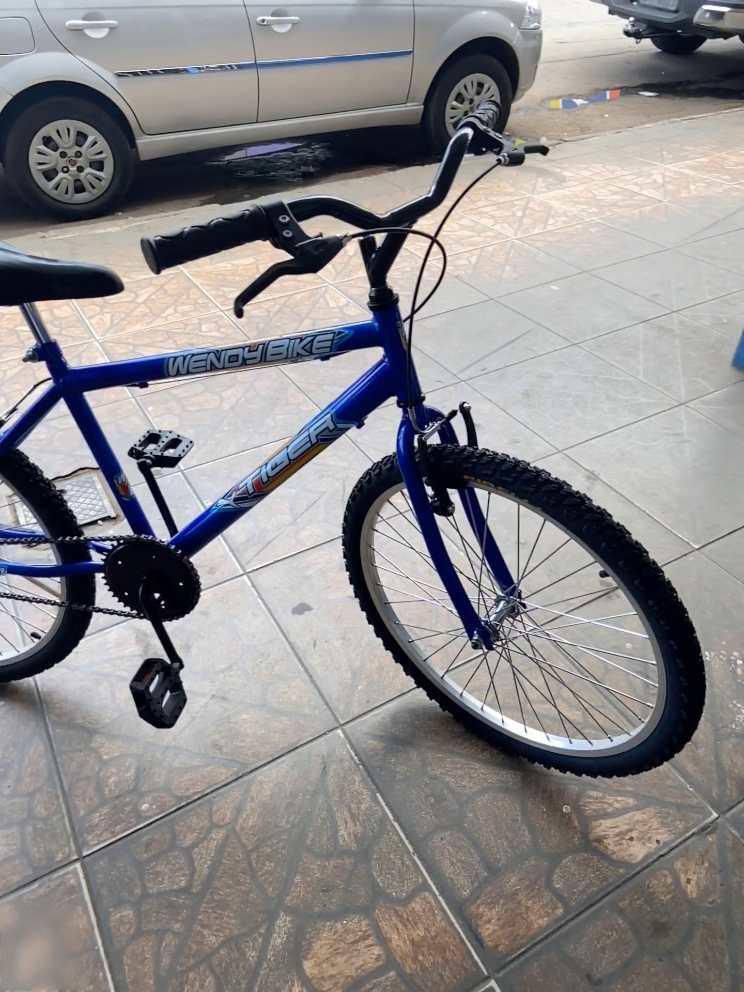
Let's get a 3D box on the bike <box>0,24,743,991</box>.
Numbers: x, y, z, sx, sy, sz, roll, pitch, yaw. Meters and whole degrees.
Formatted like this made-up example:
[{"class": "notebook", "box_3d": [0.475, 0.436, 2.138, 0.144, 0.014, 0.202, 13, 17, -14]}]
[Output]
[{"class": "bike", "box_3d": [-0.306, -0.012, 1.057, 1.486, 0.923, 0.626, 6, 41, 13]}]
